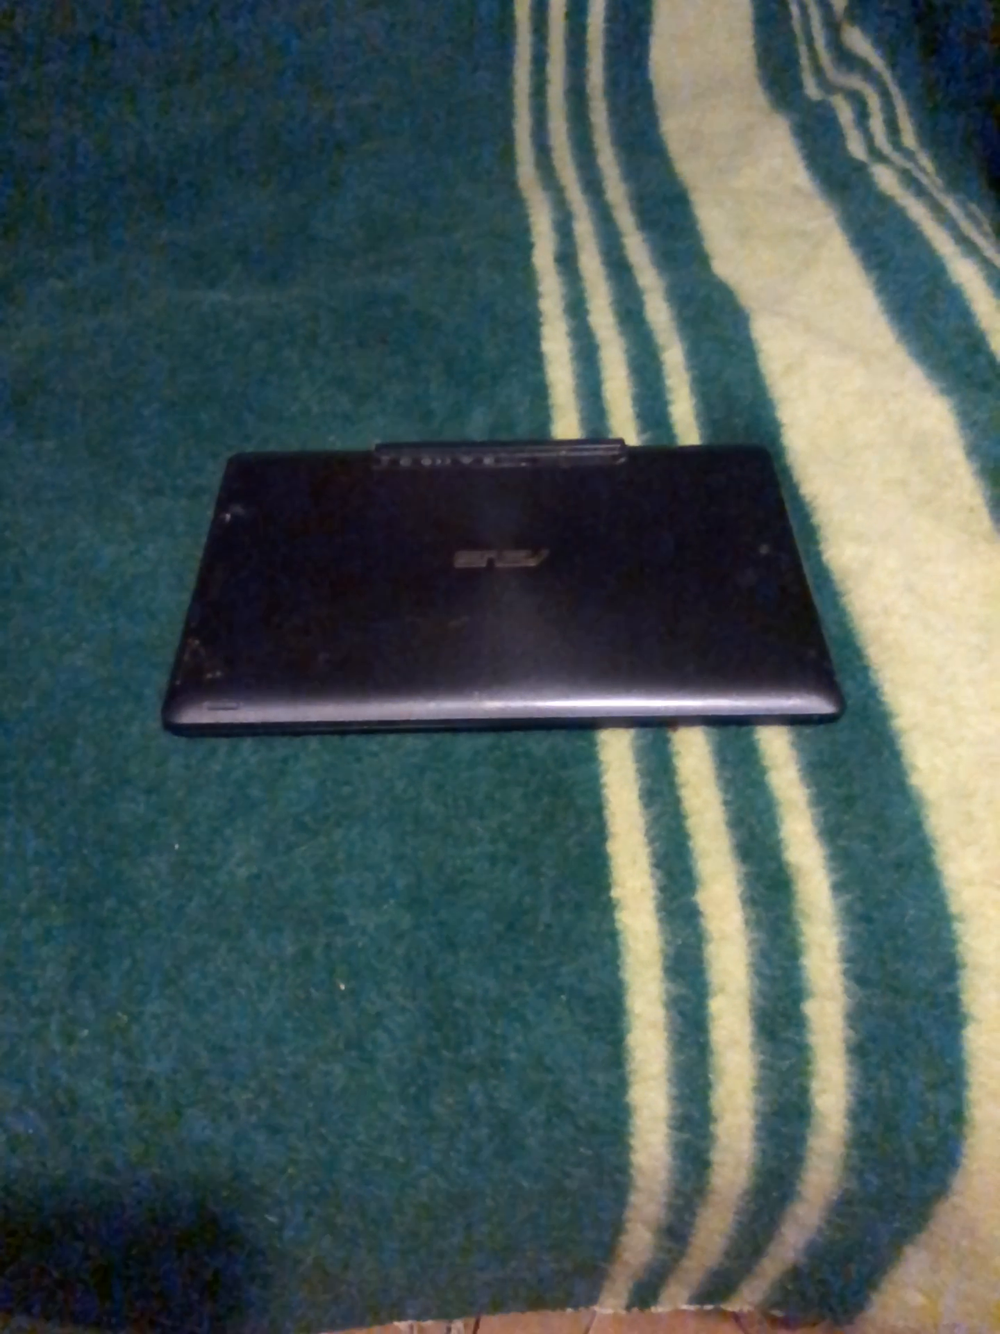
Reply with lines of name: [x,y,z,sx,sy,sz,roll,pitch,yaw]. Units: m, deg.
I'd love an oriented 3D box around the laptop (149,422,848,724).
laptop: [0.000,-0.048,0.475,0.262,0.017,0.168,-1,47,0]
